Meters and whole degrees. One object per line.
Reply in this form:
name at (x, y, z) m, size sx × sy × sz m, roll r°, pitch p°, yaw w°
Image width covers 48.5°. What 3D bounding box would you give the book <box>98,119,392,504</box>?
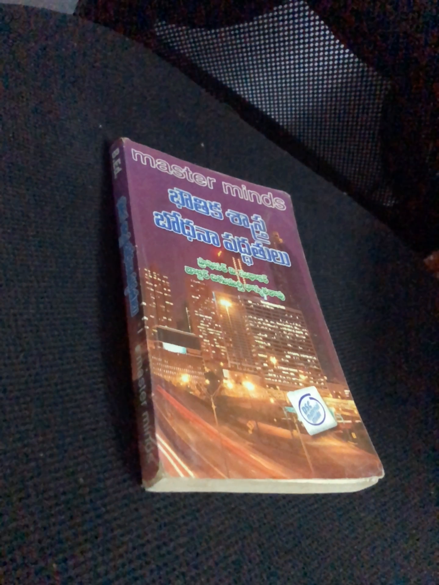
book at (0.006, 0.005, 0.286) m, size 0.146 × 0.027 × 0.219 m, roll 17°, pitch 45°, yaw -35°
